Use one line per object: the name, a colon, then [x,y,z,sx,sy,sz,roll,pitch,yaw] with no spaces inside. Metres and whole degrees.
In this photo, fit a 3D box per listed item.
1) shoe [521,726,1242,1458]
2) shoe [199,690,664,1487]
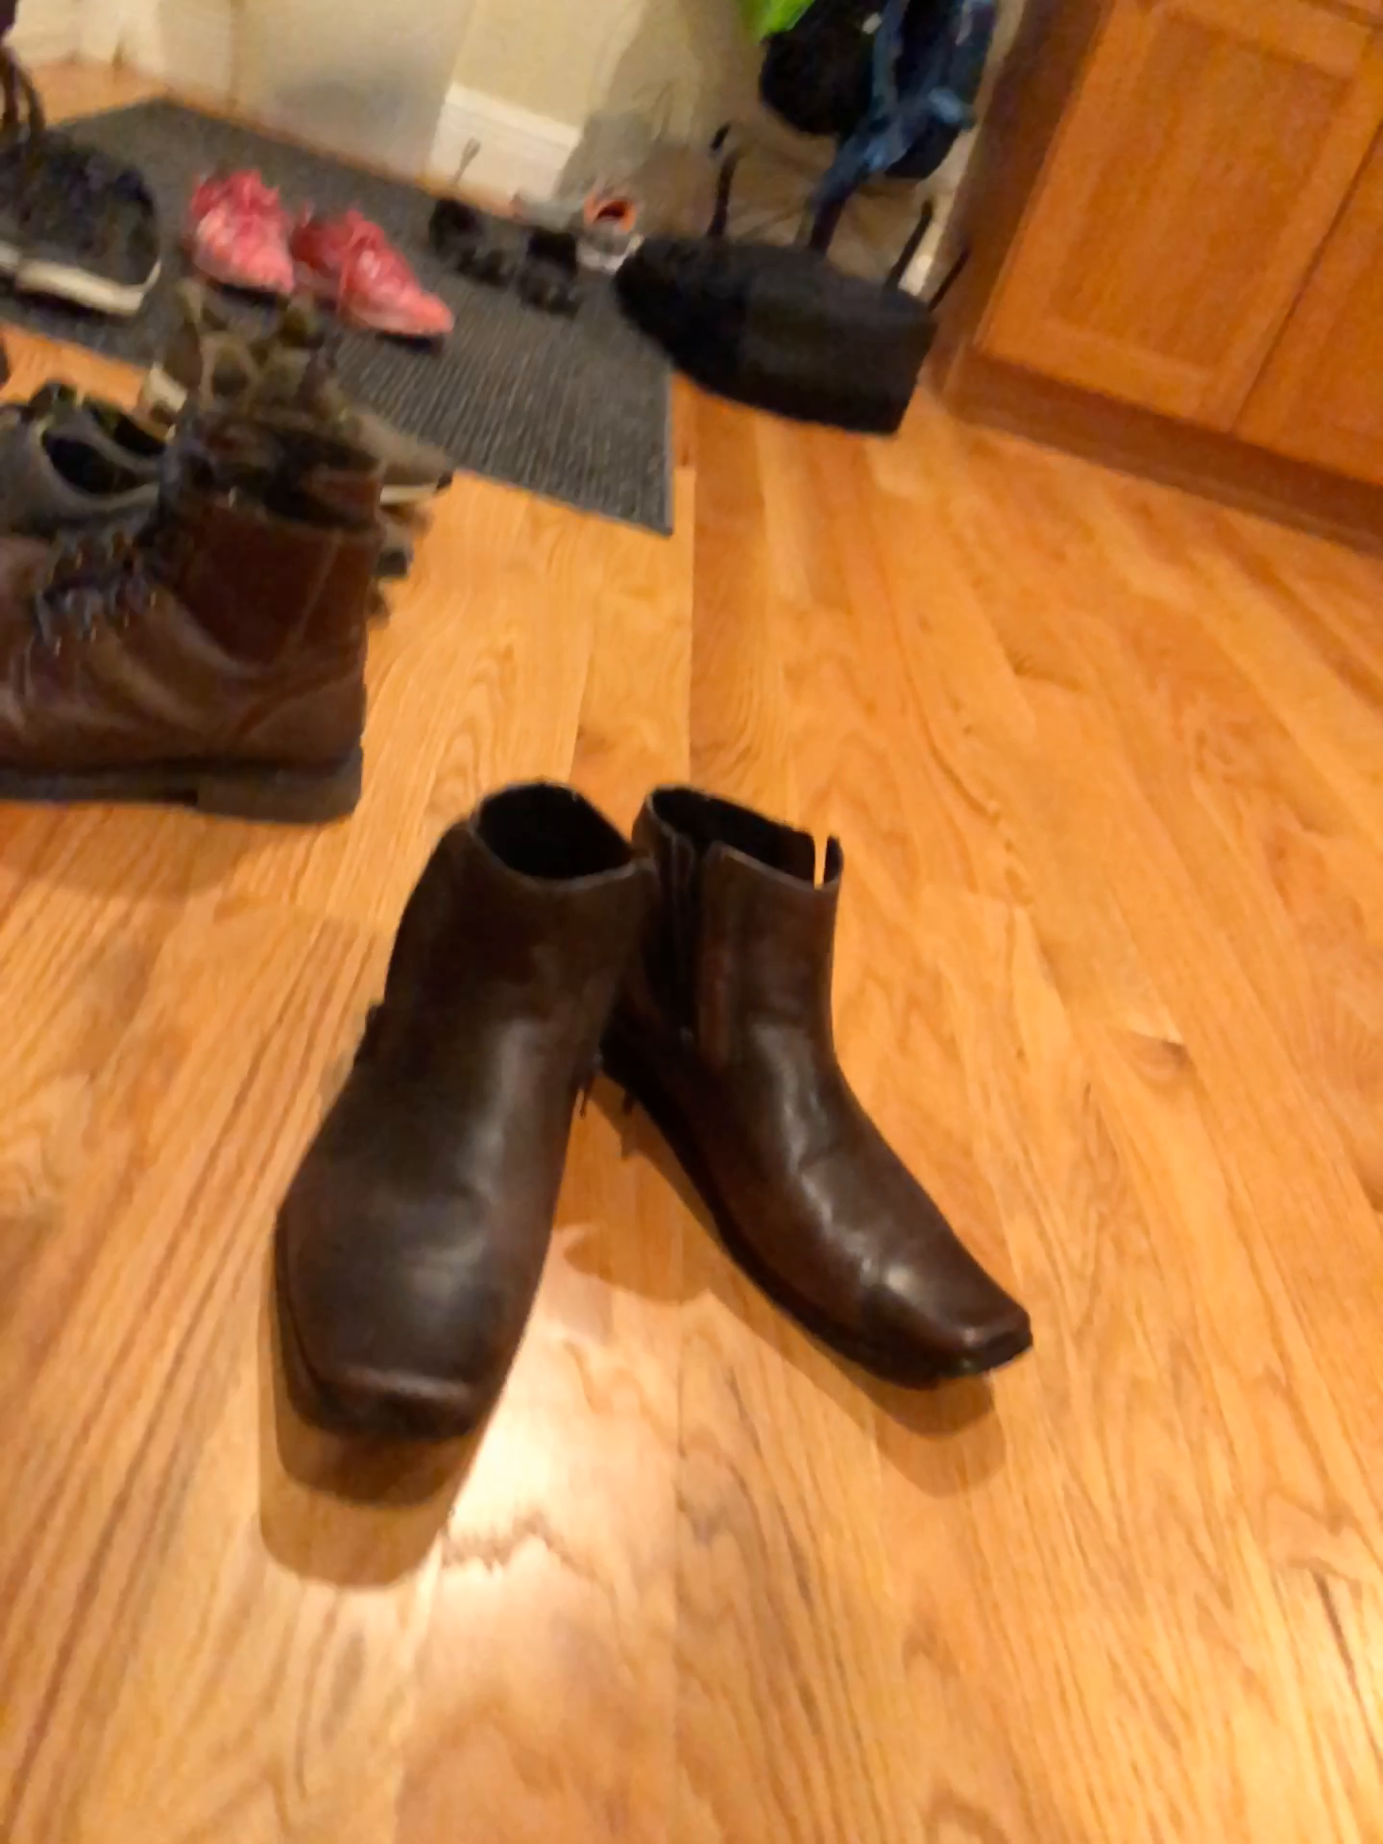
shoe: [0.063,0.055,0.681,0.109,0.152,0.301,-8,40,-39]
shoe: [-0.088,0.045,0.600,0.109,0.142,0.292,15,30,-9]
